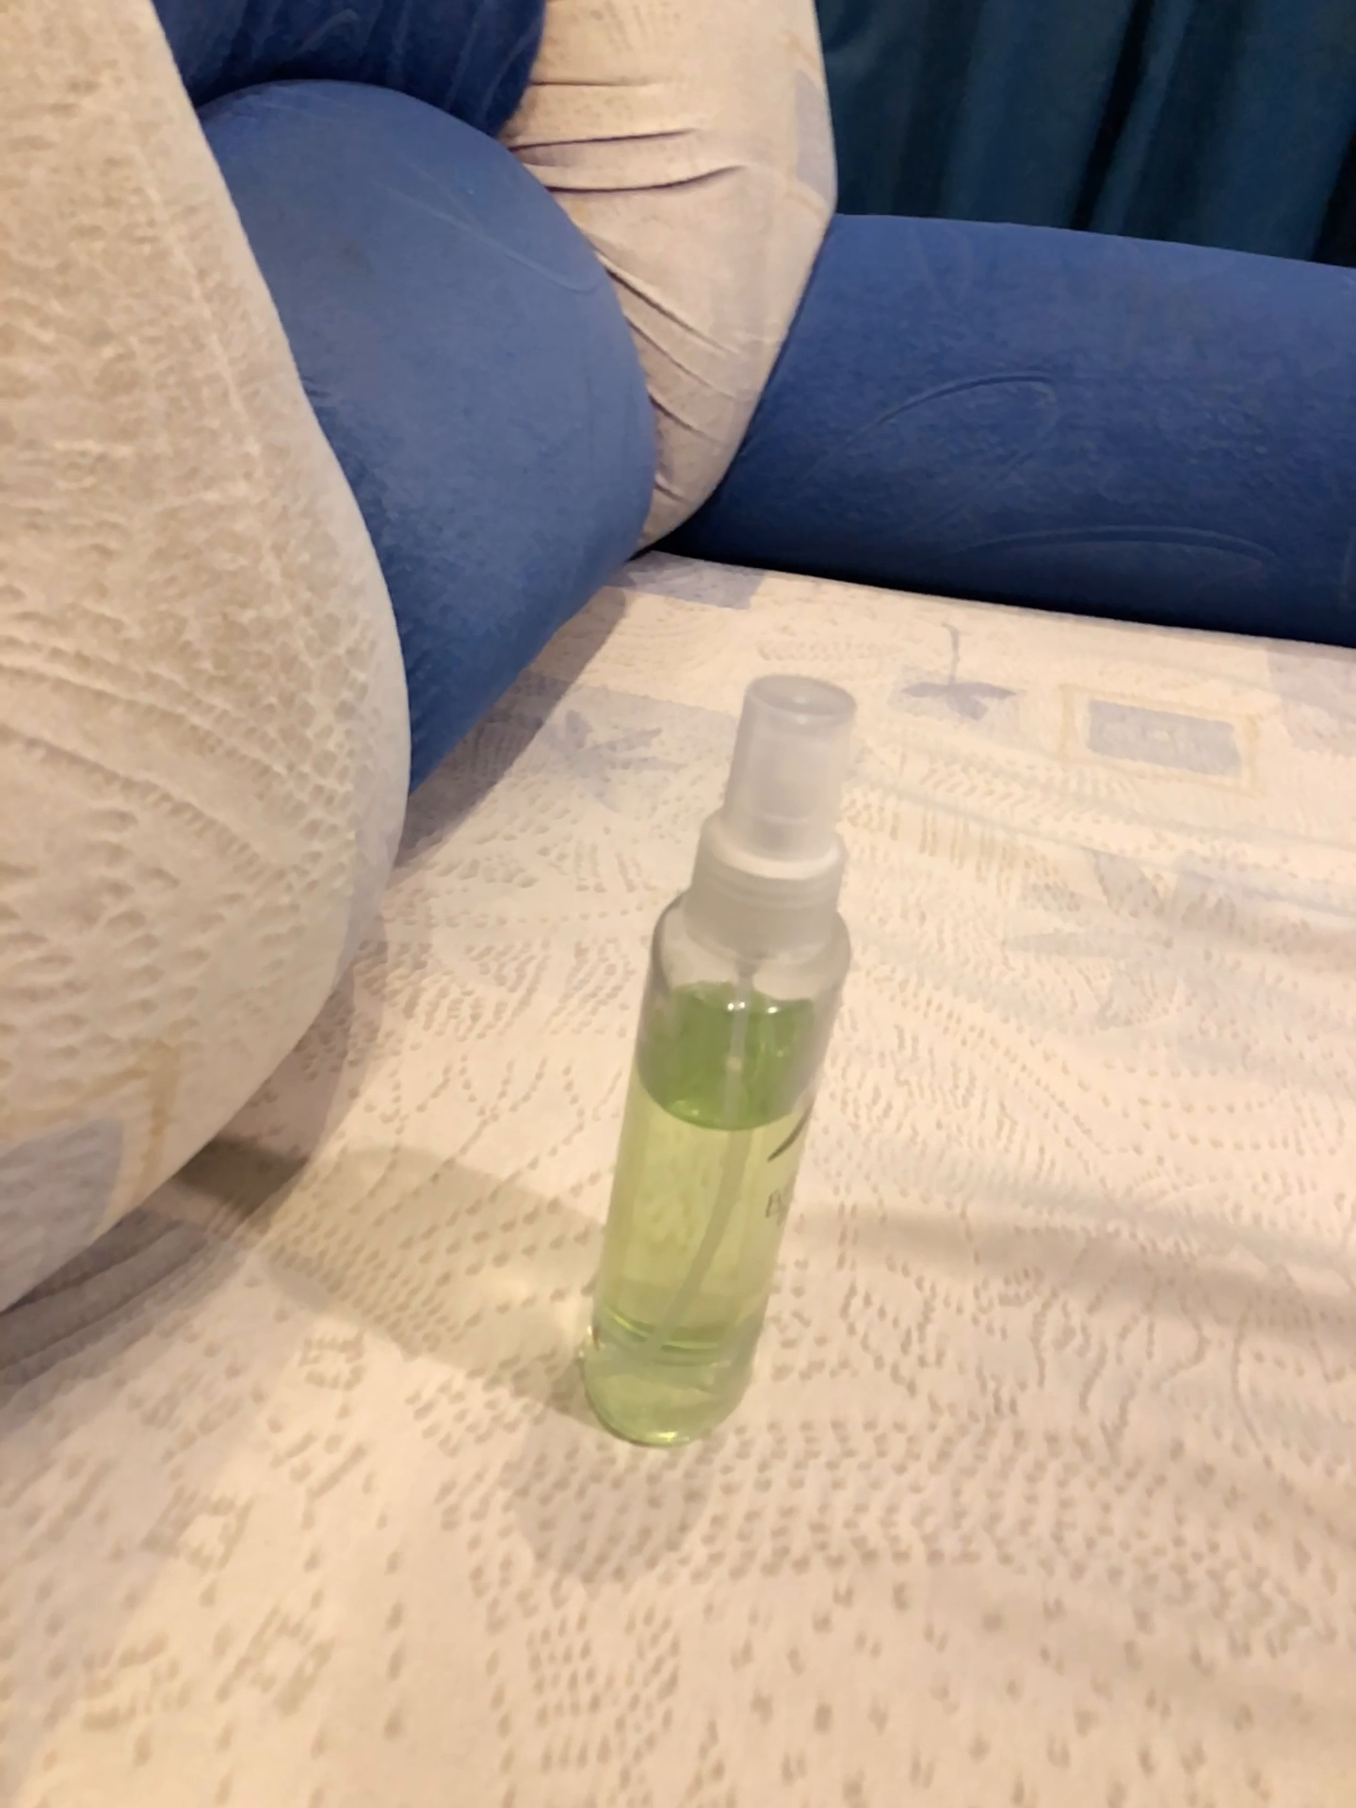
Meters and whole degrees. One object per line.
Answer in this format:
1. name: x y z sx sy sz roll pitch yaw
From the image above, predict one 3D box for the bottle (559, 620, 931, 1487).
1. bottle: 0.011 0.031 0.277 0.037 0.149 0.058 13 30 9
